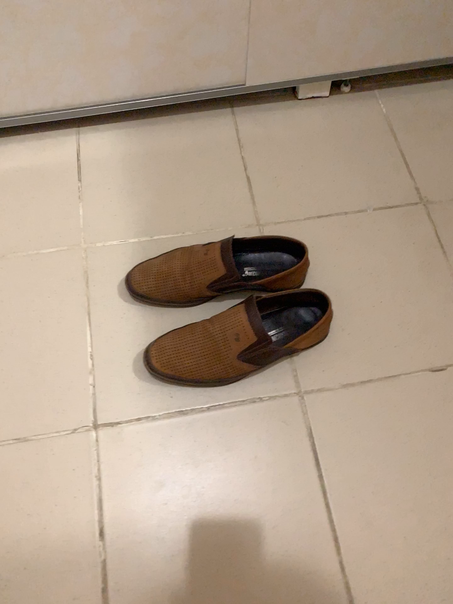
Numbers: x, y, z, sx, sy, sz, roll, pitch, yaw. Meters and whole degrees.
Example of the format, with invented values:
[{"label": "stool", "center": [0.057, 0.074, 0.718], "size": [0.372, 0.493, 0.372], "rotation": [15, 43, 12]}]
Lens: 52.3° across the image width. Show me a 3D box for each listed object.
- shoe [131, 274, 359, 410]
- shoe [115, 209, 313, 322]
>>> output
[{"label": "shoe", "center": [0.023, 0.058, 0.665], "size": [0.290, 0.090, 0.110], "rotation": [-12, 67, -7]}, {"label": "shoe", "center": [-0.021, -0.055, 0.696], "size": [0.270, 0.080, 0.110], "rotation": [-8, 66, -5]}]
